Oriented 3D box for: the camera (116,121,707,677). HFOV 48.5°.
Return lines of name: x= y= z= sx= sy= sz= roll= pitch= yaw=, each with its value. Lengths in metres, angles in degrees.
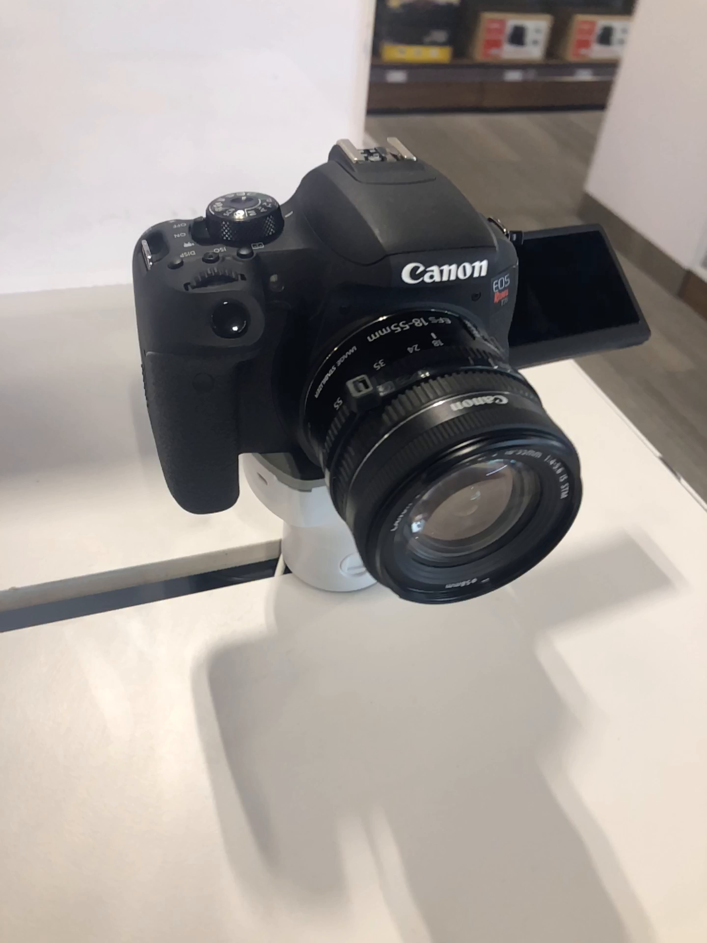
camera: x=0.046 y=-0.036 z=0.248 sx=0.210 sy=0.099 sz=0.111 roll=-11 pitch=44 yaw=-19
